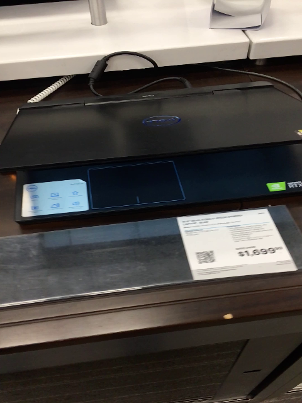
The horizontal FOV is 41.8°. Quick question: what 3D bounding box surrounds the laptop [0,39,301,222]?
[{"bbox_3d":[0.012,-0.109,0.529,0.409,0.092,0.229,-8,50,-8],"label":"laptop"}]
